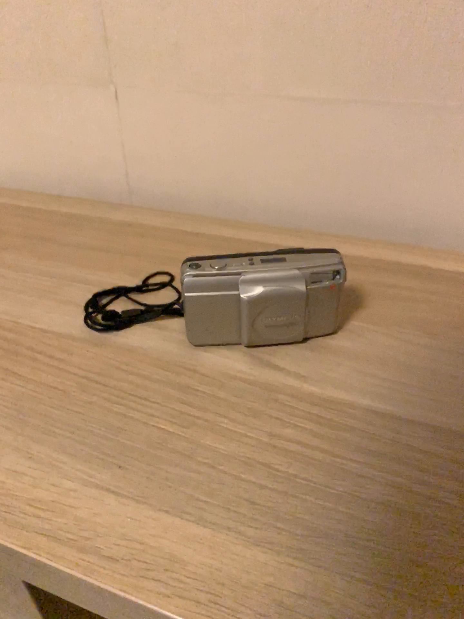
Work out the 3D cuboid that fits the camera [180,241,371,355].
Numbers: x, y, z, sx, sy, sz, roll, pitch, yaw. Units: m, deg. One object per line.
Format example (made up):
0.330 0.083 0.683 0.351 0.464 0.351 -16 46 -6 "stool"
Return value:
0.028 -0.009 0.350 0.126 0.059 0.046 -4 34 -3 "camera"
